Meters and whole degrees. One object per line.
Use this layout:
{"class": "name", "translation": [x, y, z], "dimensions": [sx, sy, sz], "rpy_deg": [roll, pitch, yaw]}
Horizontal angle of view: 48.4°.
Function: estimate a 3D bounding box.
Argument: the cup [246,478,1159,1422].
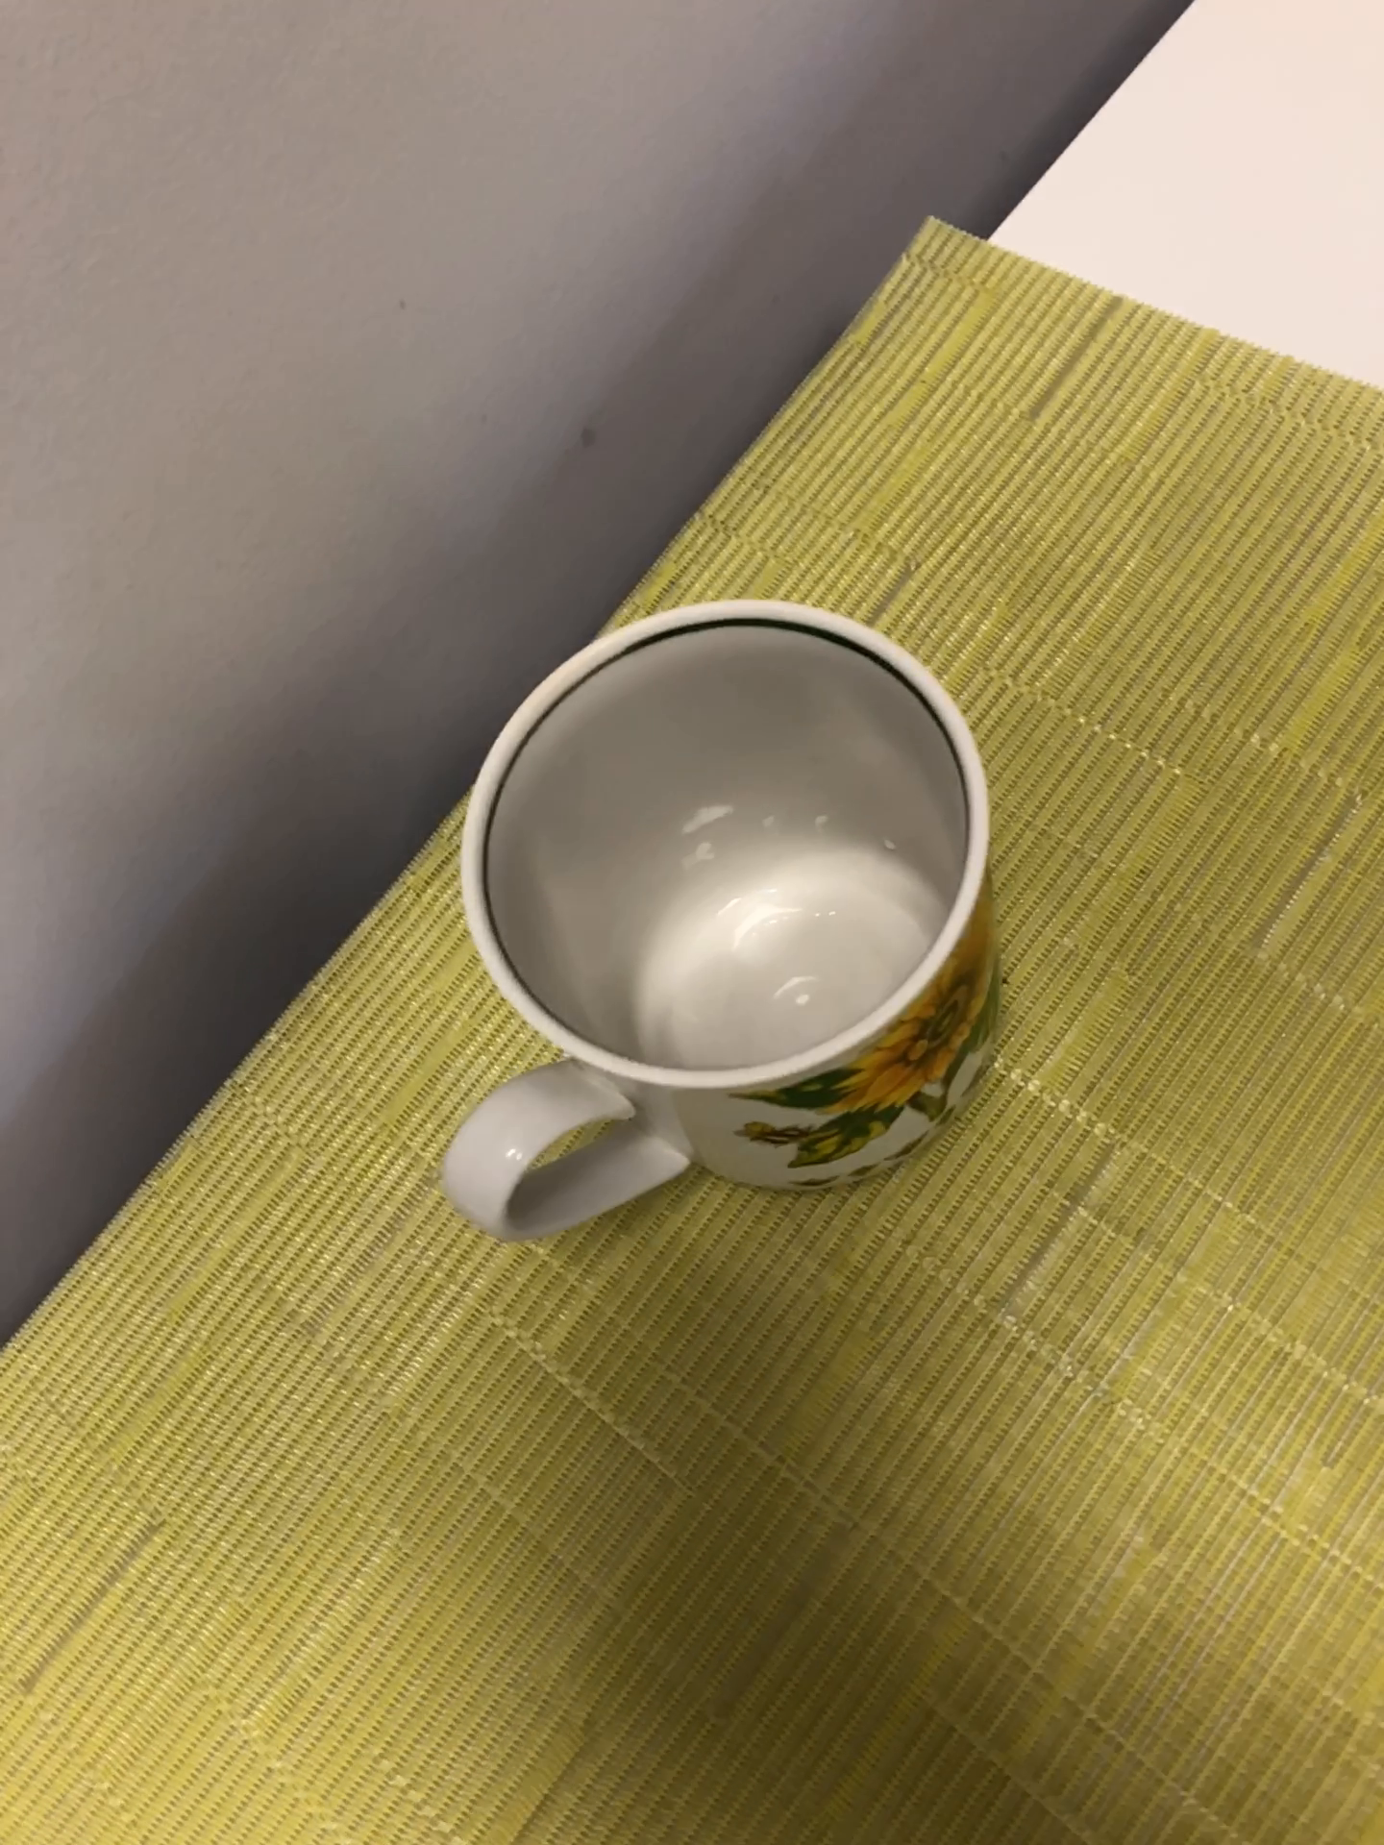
{"class": "cup", "translation": [0.009, 0.008, 0.272], "dimensions": [0.088, 0.084, 0.116], "rpy_deg": [38, 81, 27]}
